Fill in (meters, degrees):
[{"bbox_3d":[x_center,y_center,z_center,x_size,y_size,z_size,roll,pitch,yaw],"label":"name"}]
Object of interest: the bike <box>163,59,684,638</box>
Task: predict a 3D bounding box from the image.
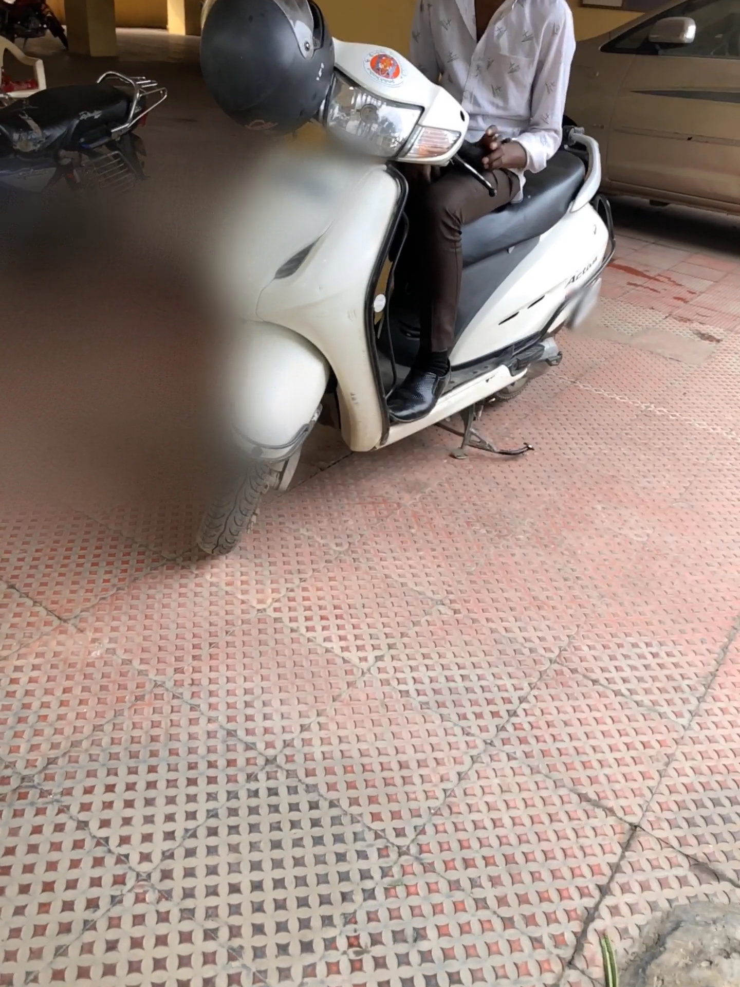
[{"bbox_3d":[0.191,-0.541,2.312,0.657,1.108,1.397,24,37,28],"label":"bike"}]
